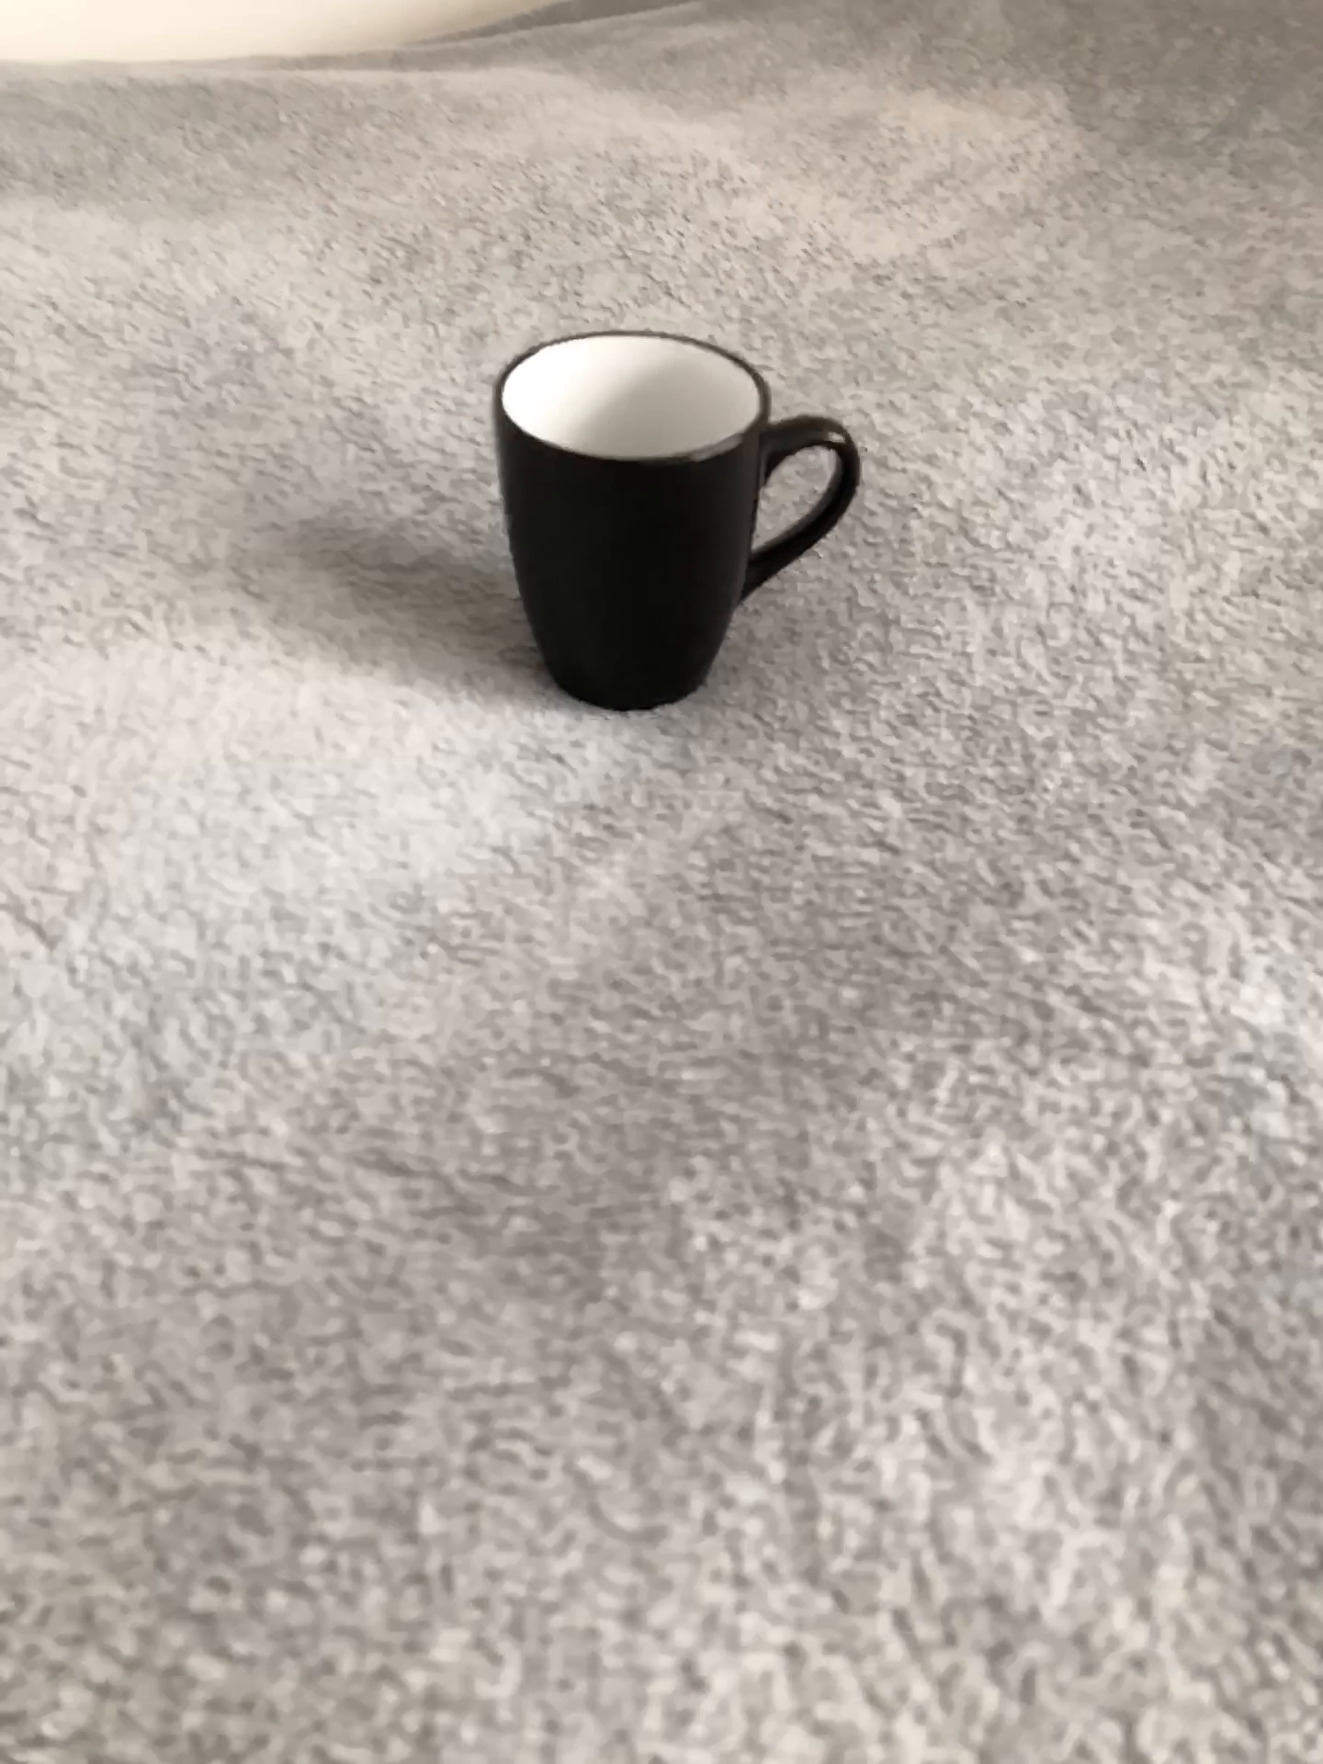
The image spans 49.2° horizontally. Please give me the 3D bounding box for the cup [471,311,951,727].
[{"bbox_3d":[0.011,-0.123,0.479,0.128,0.089,0.091,-10,43,-14],"label":"cup"}]
